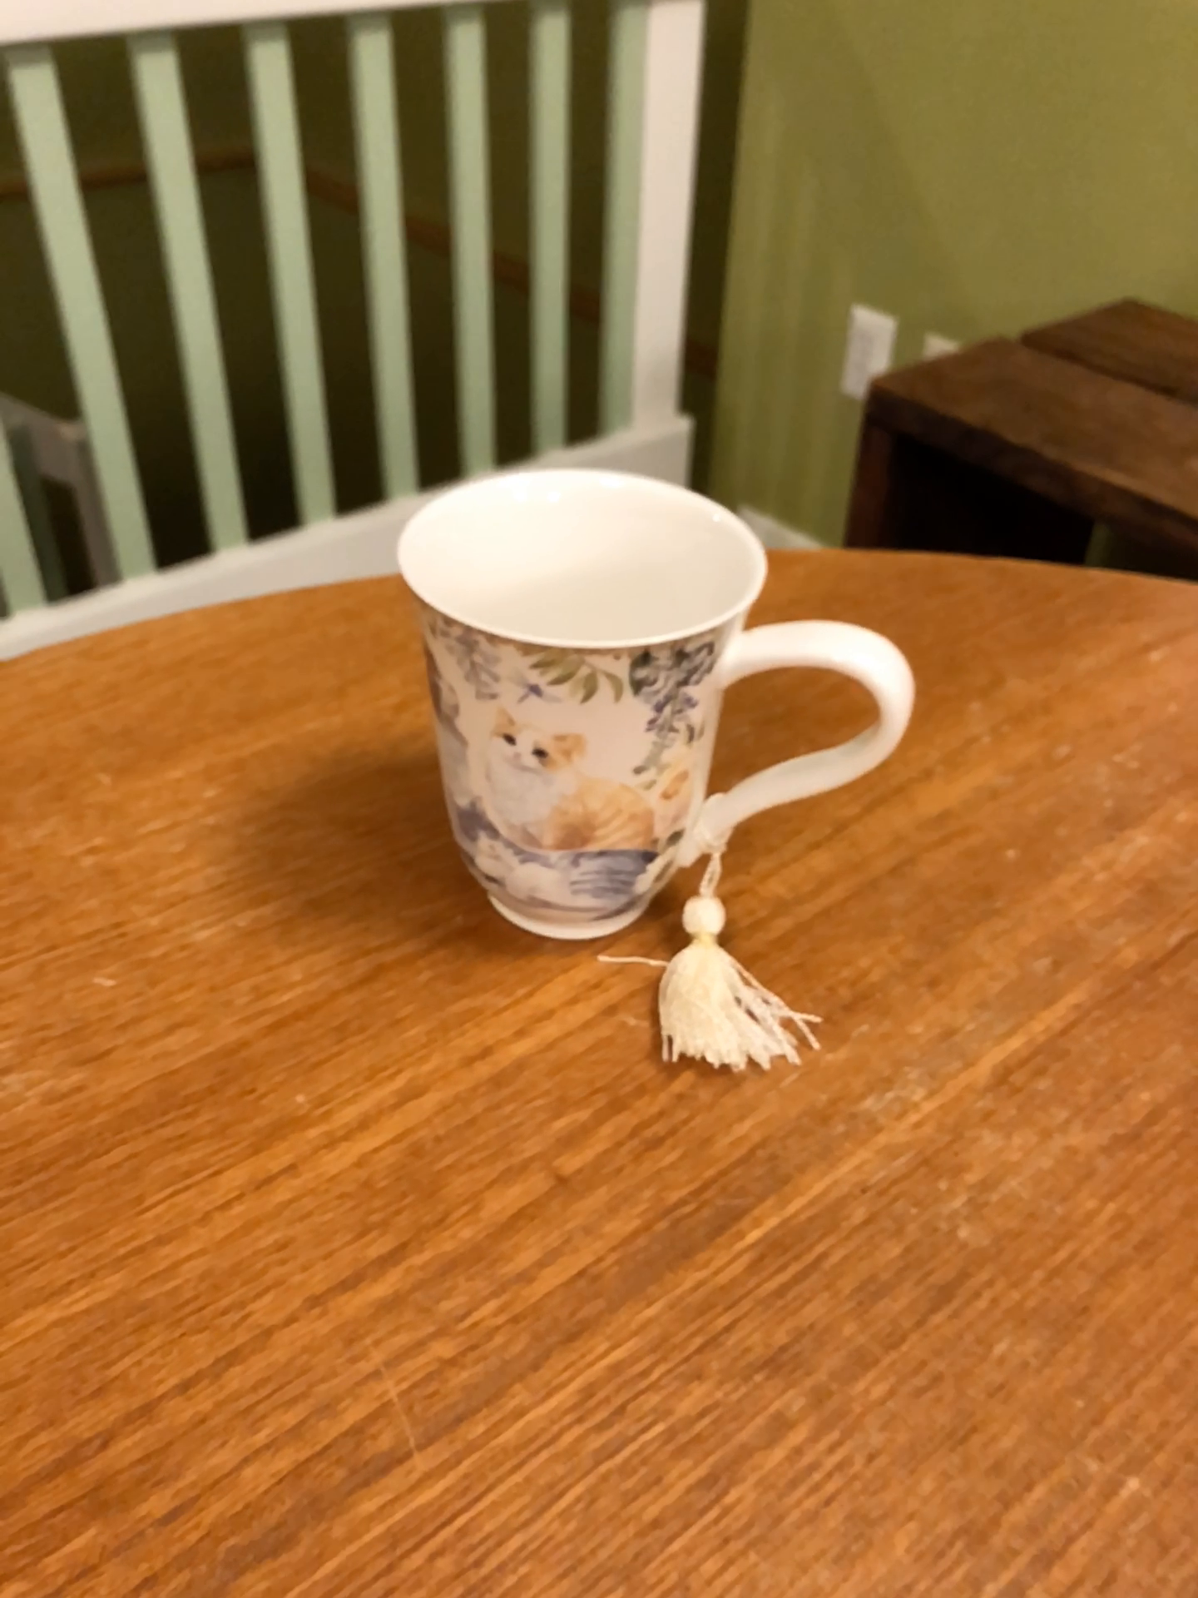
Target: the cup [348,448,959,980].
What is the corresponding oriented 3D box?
[{"bbox_3d":[0.016,-0.026,0.360,0.135,0.092,0.095,6,38,5],"label":"cup"}]
